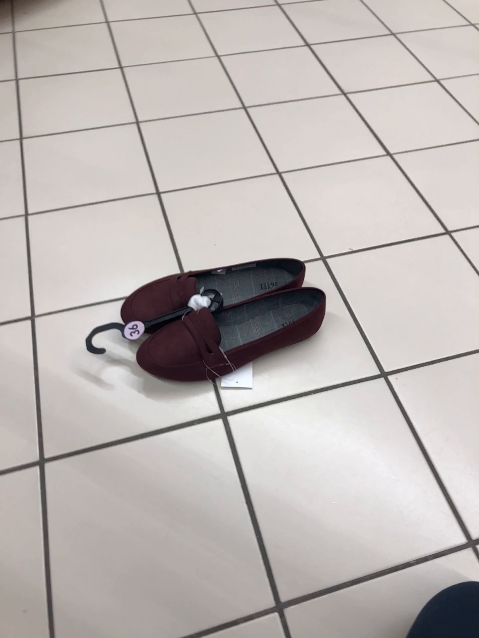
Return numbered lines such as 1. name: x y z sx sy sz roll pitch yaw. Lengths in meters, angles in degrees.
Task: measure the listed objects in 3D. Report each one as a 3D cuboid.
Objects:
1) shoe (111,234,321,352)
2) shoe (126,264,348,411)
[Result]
1. shoe: -0.028 -0.036 0.656 0.239 0.057 0.079 -14 54 -12
2. shoe: -0.001 0.017 0.616 0.240 0.056 0.079 -20 56 -17
